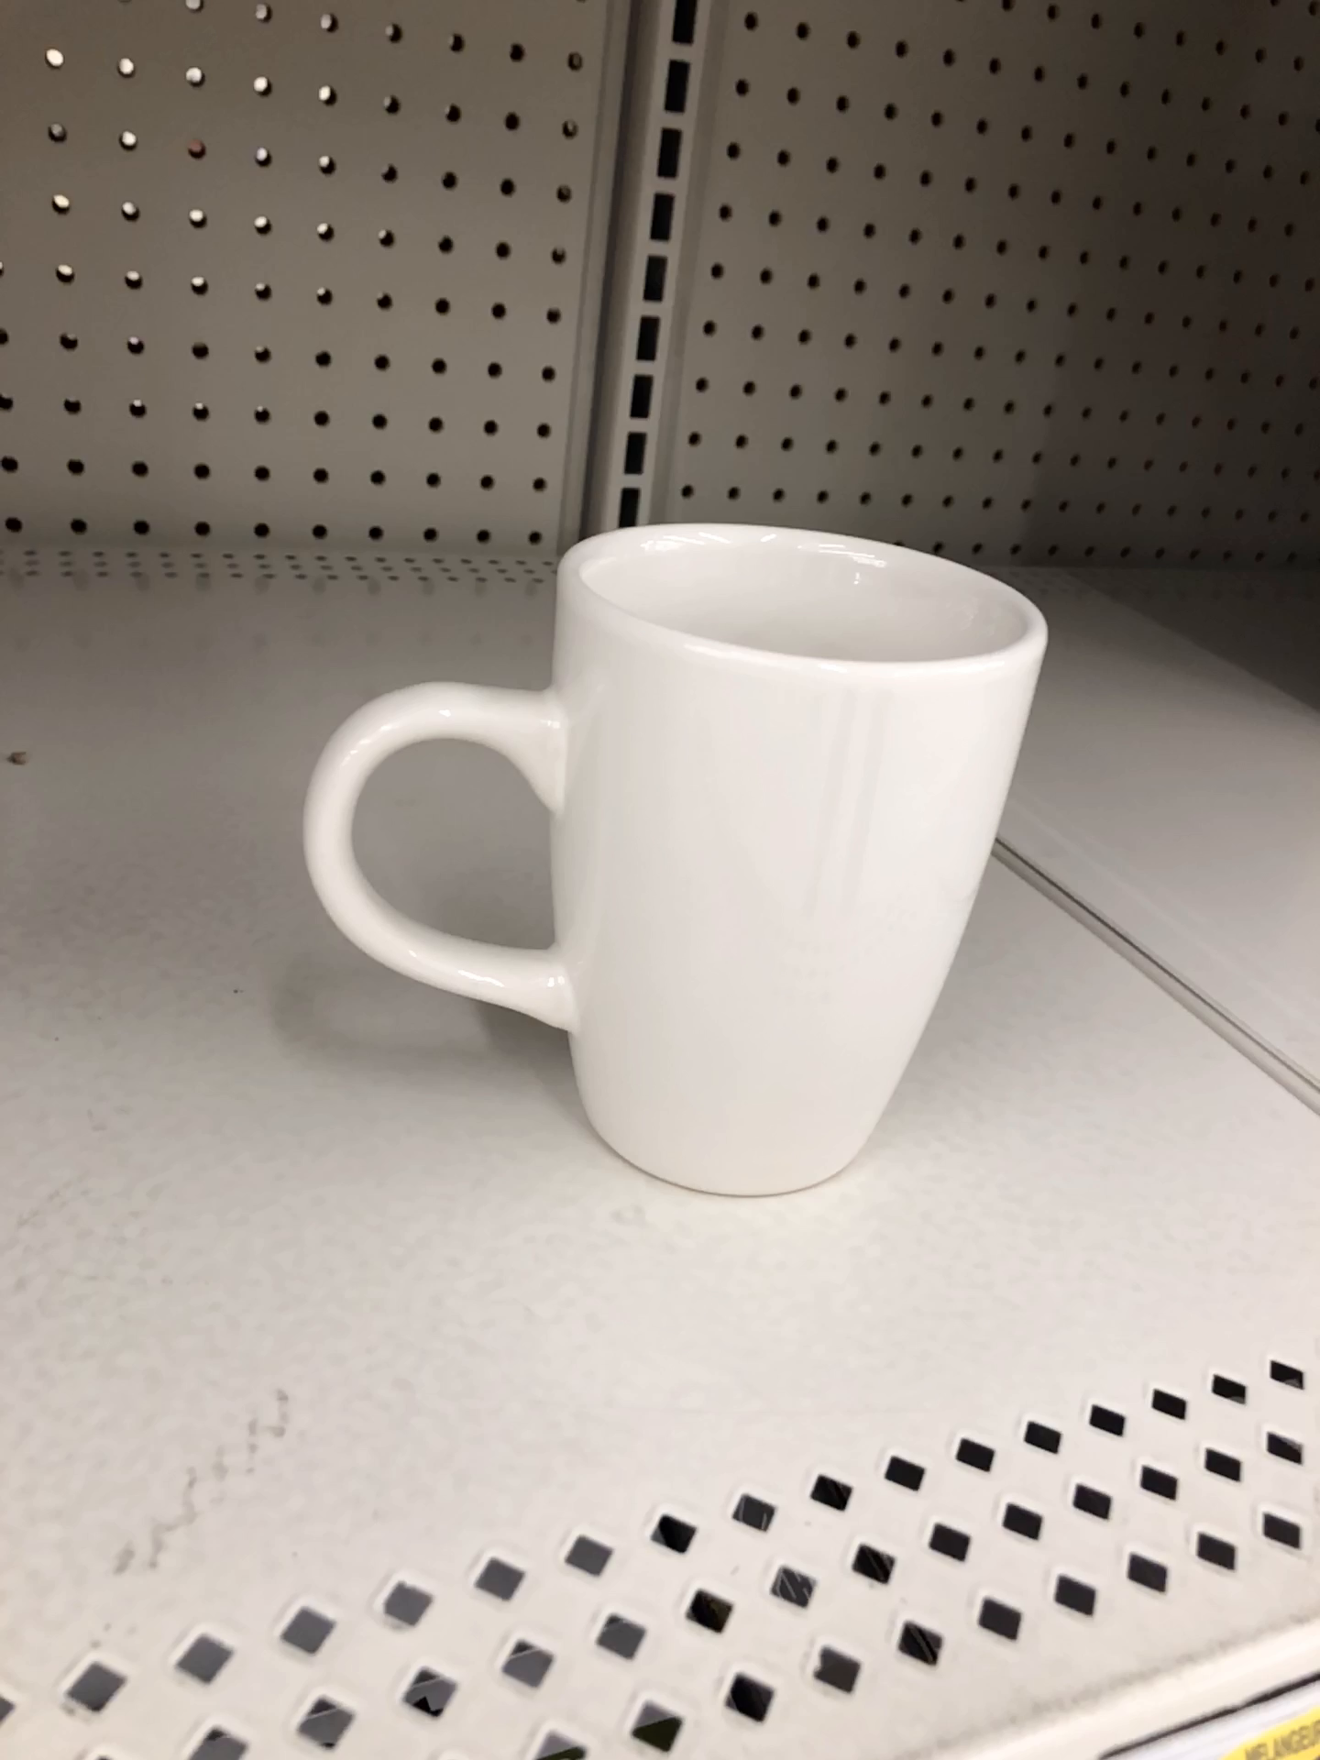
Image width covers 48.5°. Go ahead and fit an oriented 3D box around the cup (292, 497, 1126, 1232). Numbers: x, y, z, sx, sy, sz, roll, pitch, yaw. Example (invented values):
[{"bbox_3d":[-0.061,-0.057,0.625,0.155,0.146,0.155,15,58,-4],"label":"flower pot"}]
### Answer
[{"bbox_3d":[-0.002,-0.004,0.274,0.125,0.106,0.081,2,27,-11],"label":"cup"}]
